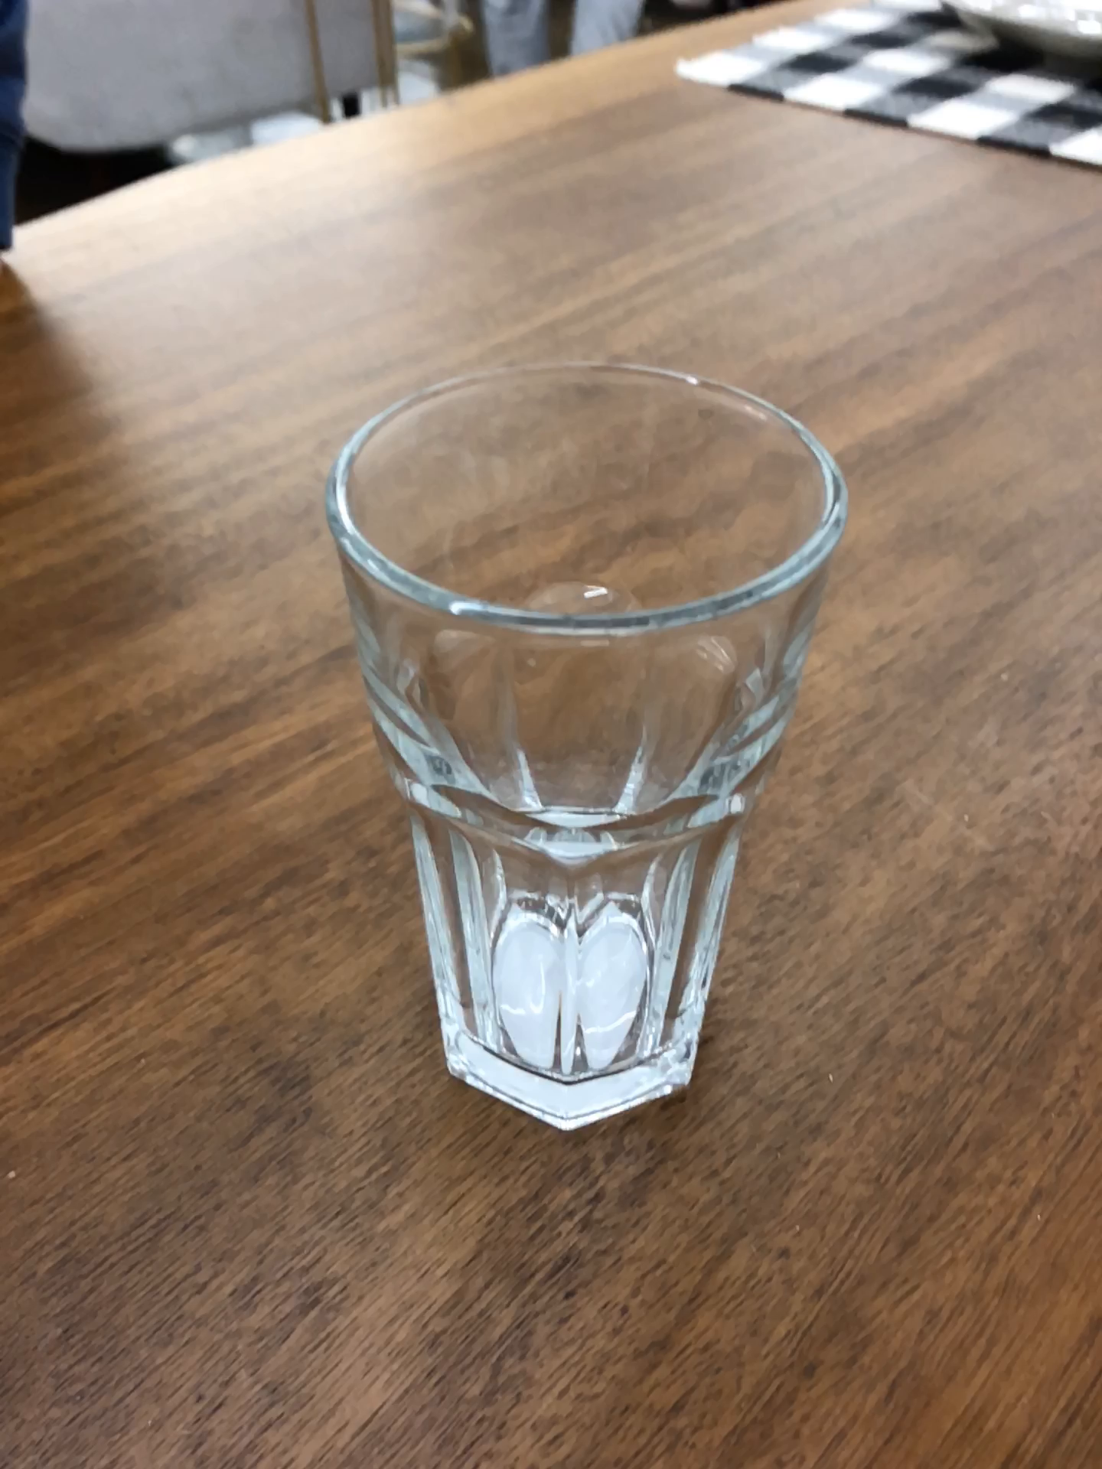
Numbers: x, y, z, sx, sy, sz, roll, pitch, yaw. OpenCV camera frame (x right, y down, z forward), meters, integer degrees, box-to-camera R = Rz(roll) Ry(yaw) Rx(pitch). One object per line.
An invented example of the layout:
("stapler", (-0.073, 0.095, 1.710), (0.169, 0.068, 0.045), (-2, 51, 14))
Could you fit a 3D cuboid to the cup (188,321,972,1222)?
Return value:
("cup", (0.002, 0.003, 0.188), (0.072, 0.095, 0.070), (0, 41, 0))
